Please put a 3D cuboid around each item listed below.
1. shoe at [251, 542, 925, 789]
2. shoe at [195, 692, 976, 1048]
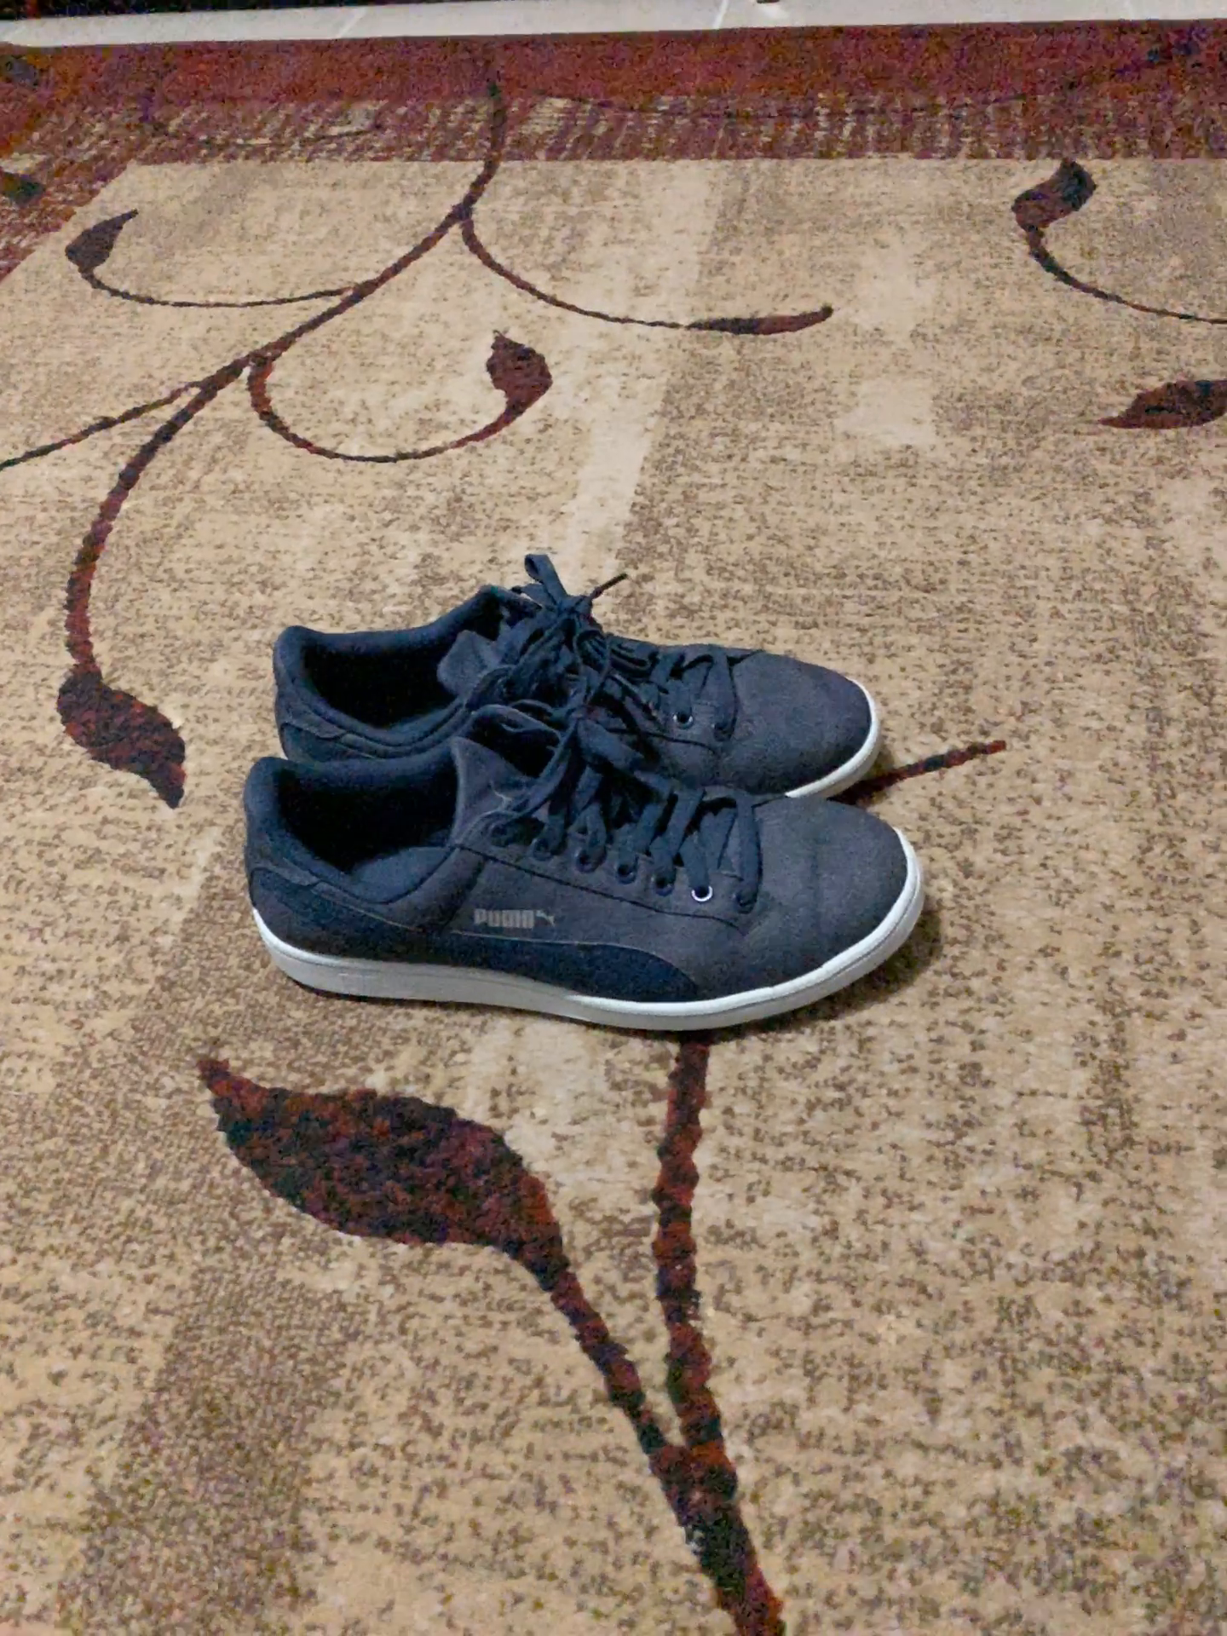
[{"bbox_3d":[-0.009,-0.069,0.561,0.274,0.050,0.100,-1,47,5],"label":"shoe"},{"bbox_3d":[-0.007,0.020,0.506,0.274,0.090,0.107,0,47,5],"label":"shoe"}]
